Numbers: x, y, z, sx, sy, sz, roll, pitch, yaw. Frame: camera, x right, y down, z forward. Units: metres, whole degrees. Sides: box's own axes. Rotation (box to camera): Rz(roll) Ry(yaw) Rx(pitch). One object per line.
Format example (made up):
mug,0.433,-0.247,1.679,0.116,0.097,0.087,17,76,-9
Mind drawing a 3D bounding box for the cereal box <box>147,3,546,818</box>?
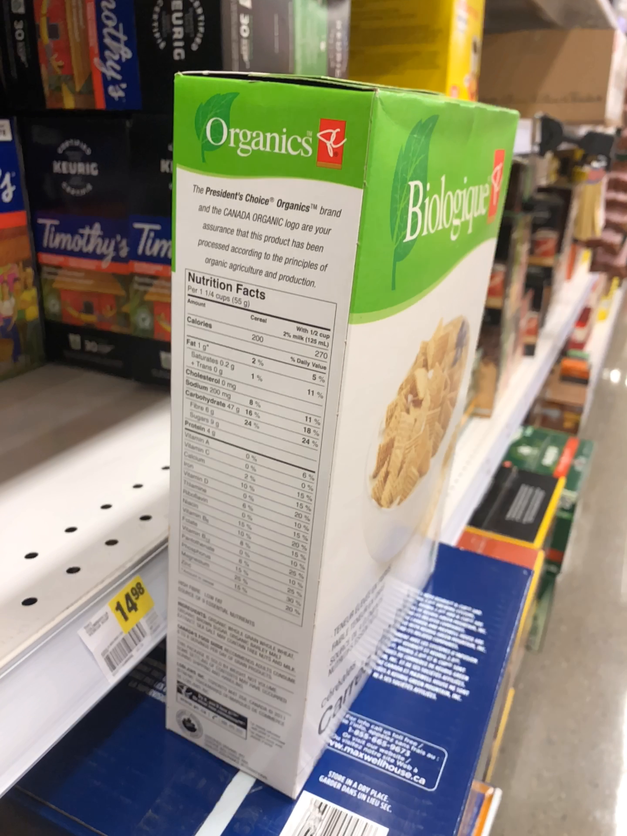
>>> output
cereal box,0.020,-0.010,0.331,0.070,0.289,0.211,17,26,22
